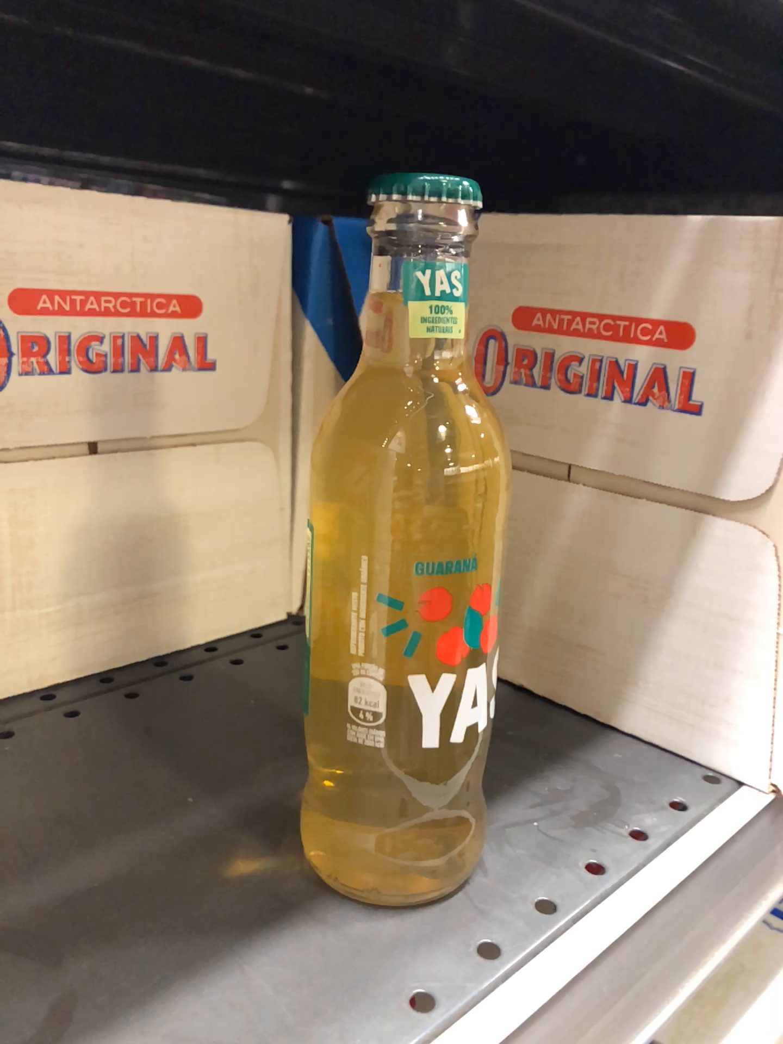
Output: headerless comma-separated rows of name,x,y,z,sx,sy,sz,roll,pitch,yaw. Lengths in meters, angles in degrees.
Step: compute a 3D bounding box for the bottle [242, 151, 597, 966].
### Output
bottle,0.003,0.009,0.244,0.060,0.199,0.060,4,15,-1
